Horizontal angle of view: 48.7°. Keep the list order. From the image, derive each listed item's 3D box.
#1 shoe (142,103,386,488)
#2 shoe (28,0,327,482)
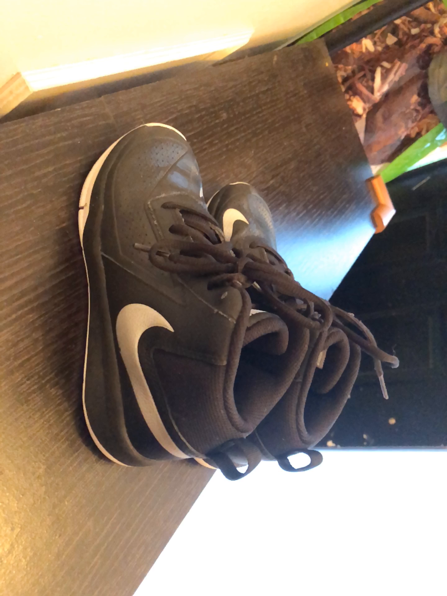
[{"bbox_3d":[0.033,0.007,0.377,0.100,0.129,0.250,25,60,-45],"label":"shoe"},{"bbox_3d":[-0.027,-0.030,0.307,0.100,0.129,0.260,18,65,-47],"label":"shoe"}]
